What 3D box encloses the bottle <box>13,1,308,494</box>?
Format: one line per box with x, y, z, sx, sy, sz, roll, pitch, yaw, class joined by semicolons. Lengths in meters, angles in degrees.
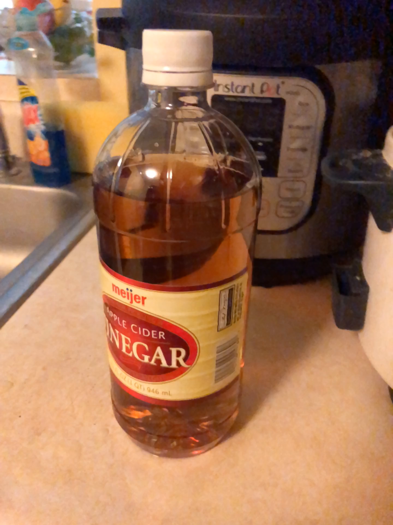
-0.015;-0.004;0.235;0.090;0.229;0.080;20;34;31;bottle
